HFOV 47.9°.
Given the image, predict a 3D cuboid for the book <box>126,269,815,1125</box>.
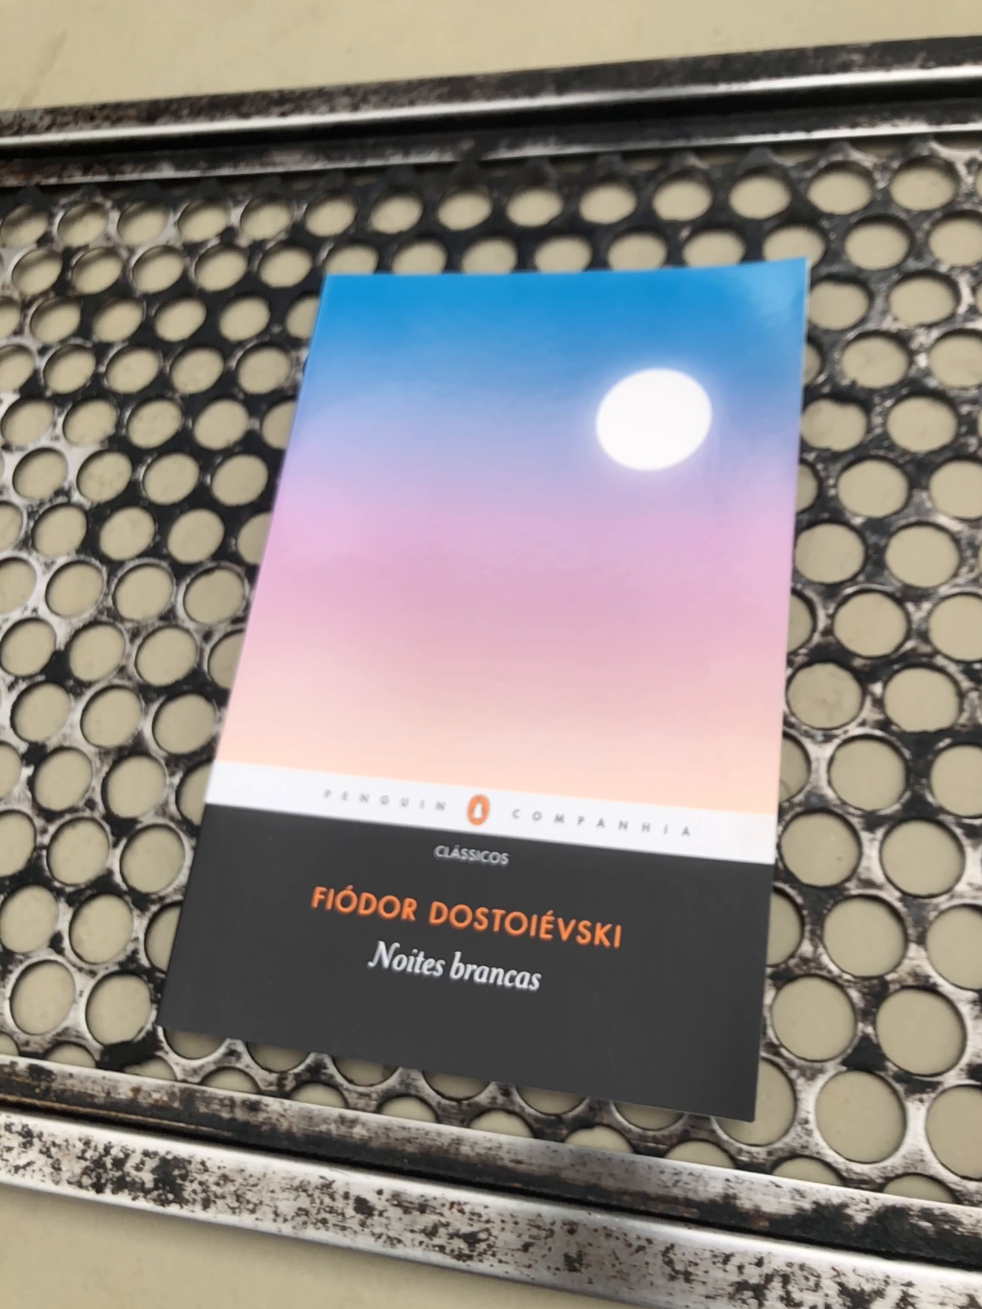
[{"bbox_3d":[0.001,-0.006,0.256,0.132,0.010,0.191,4,71,14],"label":"book"}]
